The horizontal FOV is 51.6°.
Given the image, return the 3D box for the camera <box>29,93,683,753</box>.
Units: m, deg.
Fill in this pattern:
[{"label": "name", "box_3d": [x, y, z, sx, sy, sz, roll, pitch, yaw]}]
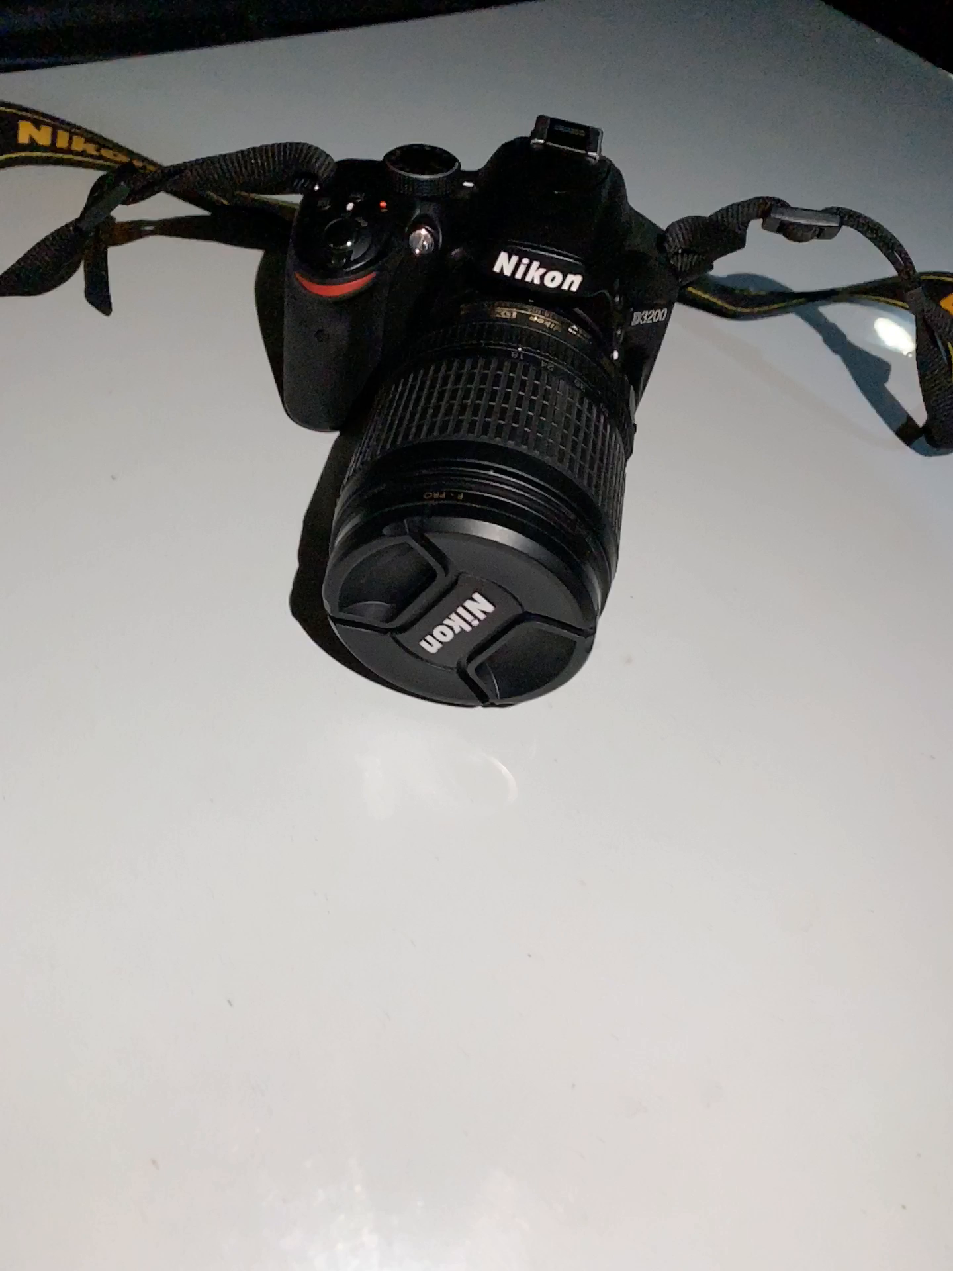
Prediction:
[{"label": "camera", "box_3d": [-0.014, -0.082, 0.307, 0.126, 0.099, 0.202, 10, 43, 8]}]
